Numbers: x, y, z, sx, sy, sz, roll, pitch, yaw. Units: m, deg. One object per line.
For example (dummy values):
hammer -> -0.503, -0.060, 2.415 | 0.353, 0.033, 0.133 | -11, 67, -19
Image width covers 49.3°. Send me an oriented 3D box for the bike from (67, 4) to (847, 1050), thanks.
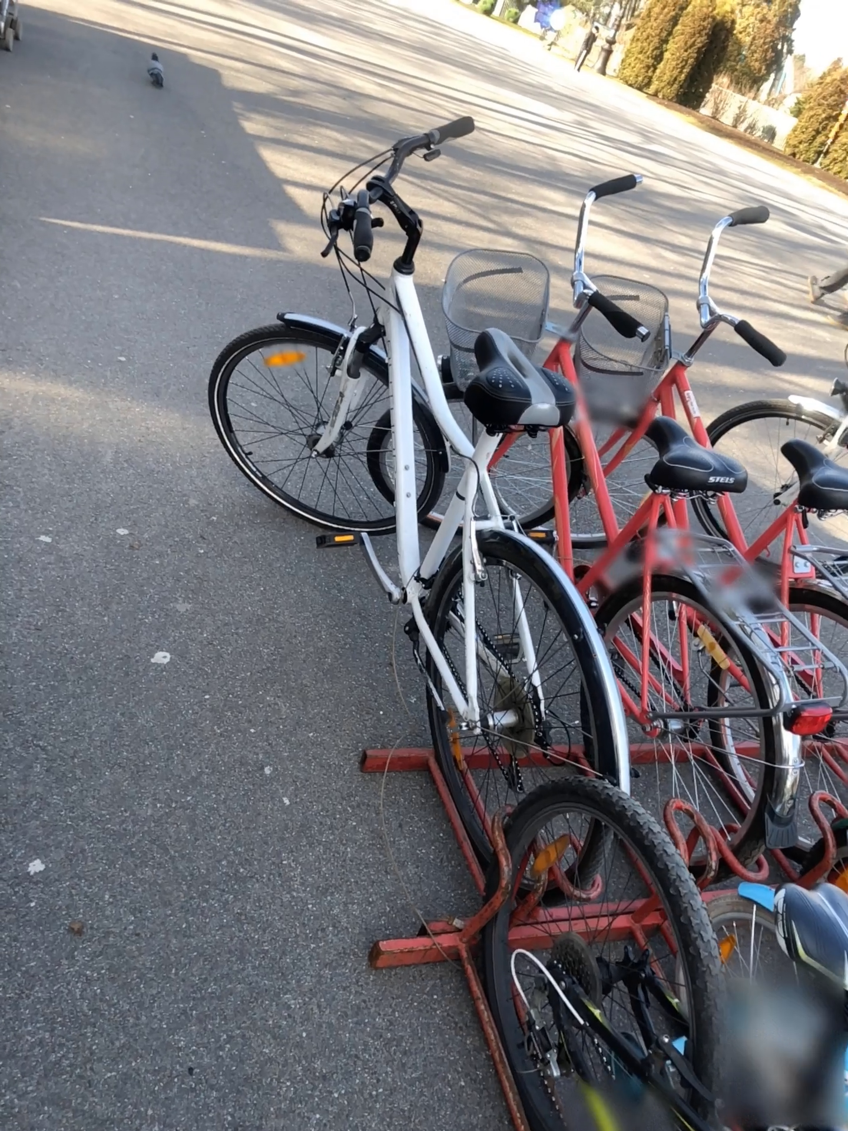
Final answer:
bike -> -0.088, -0.190, 1.847 | 0.620, 1.164, 1.605 | -3, 39, -38
